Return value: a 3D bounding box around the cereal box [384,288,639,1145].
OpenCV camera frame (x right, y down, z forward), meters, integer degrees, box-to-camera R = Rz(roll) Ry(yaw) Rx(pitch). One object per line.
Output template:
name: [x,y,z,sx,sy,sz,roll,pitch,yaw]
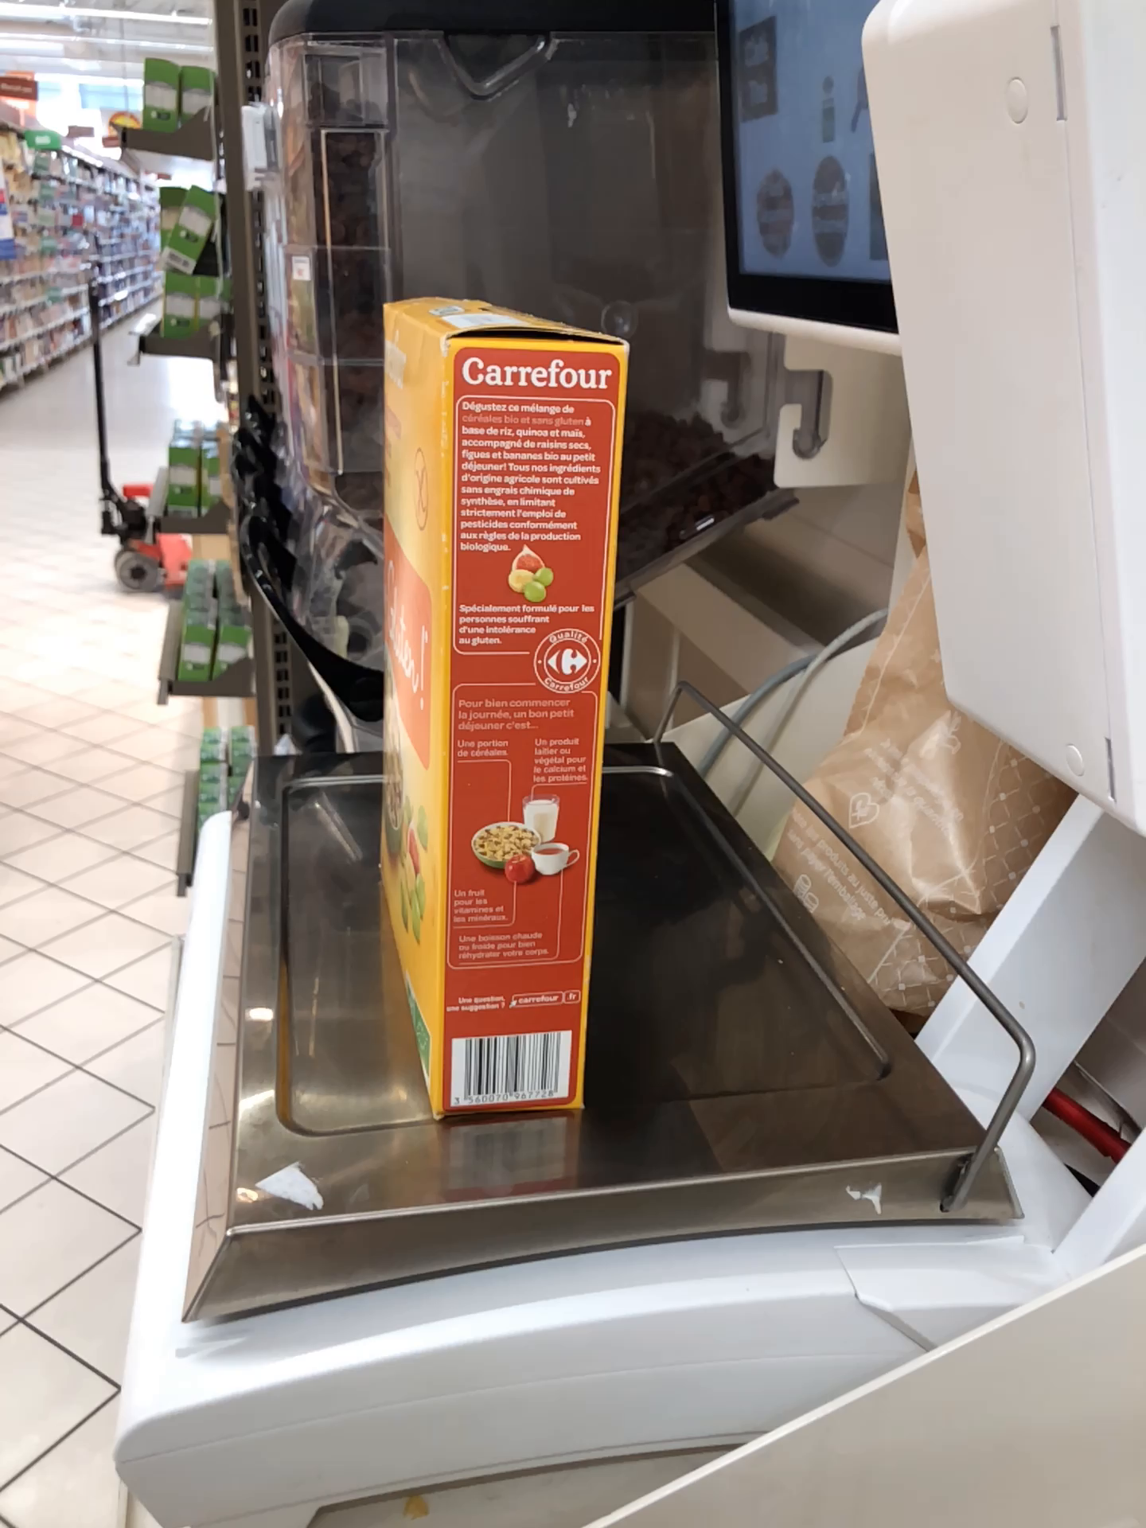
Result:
cereal box: [-0.034,-0.032,0.459,0.050,0.259,0.191,-2,21,-13]
